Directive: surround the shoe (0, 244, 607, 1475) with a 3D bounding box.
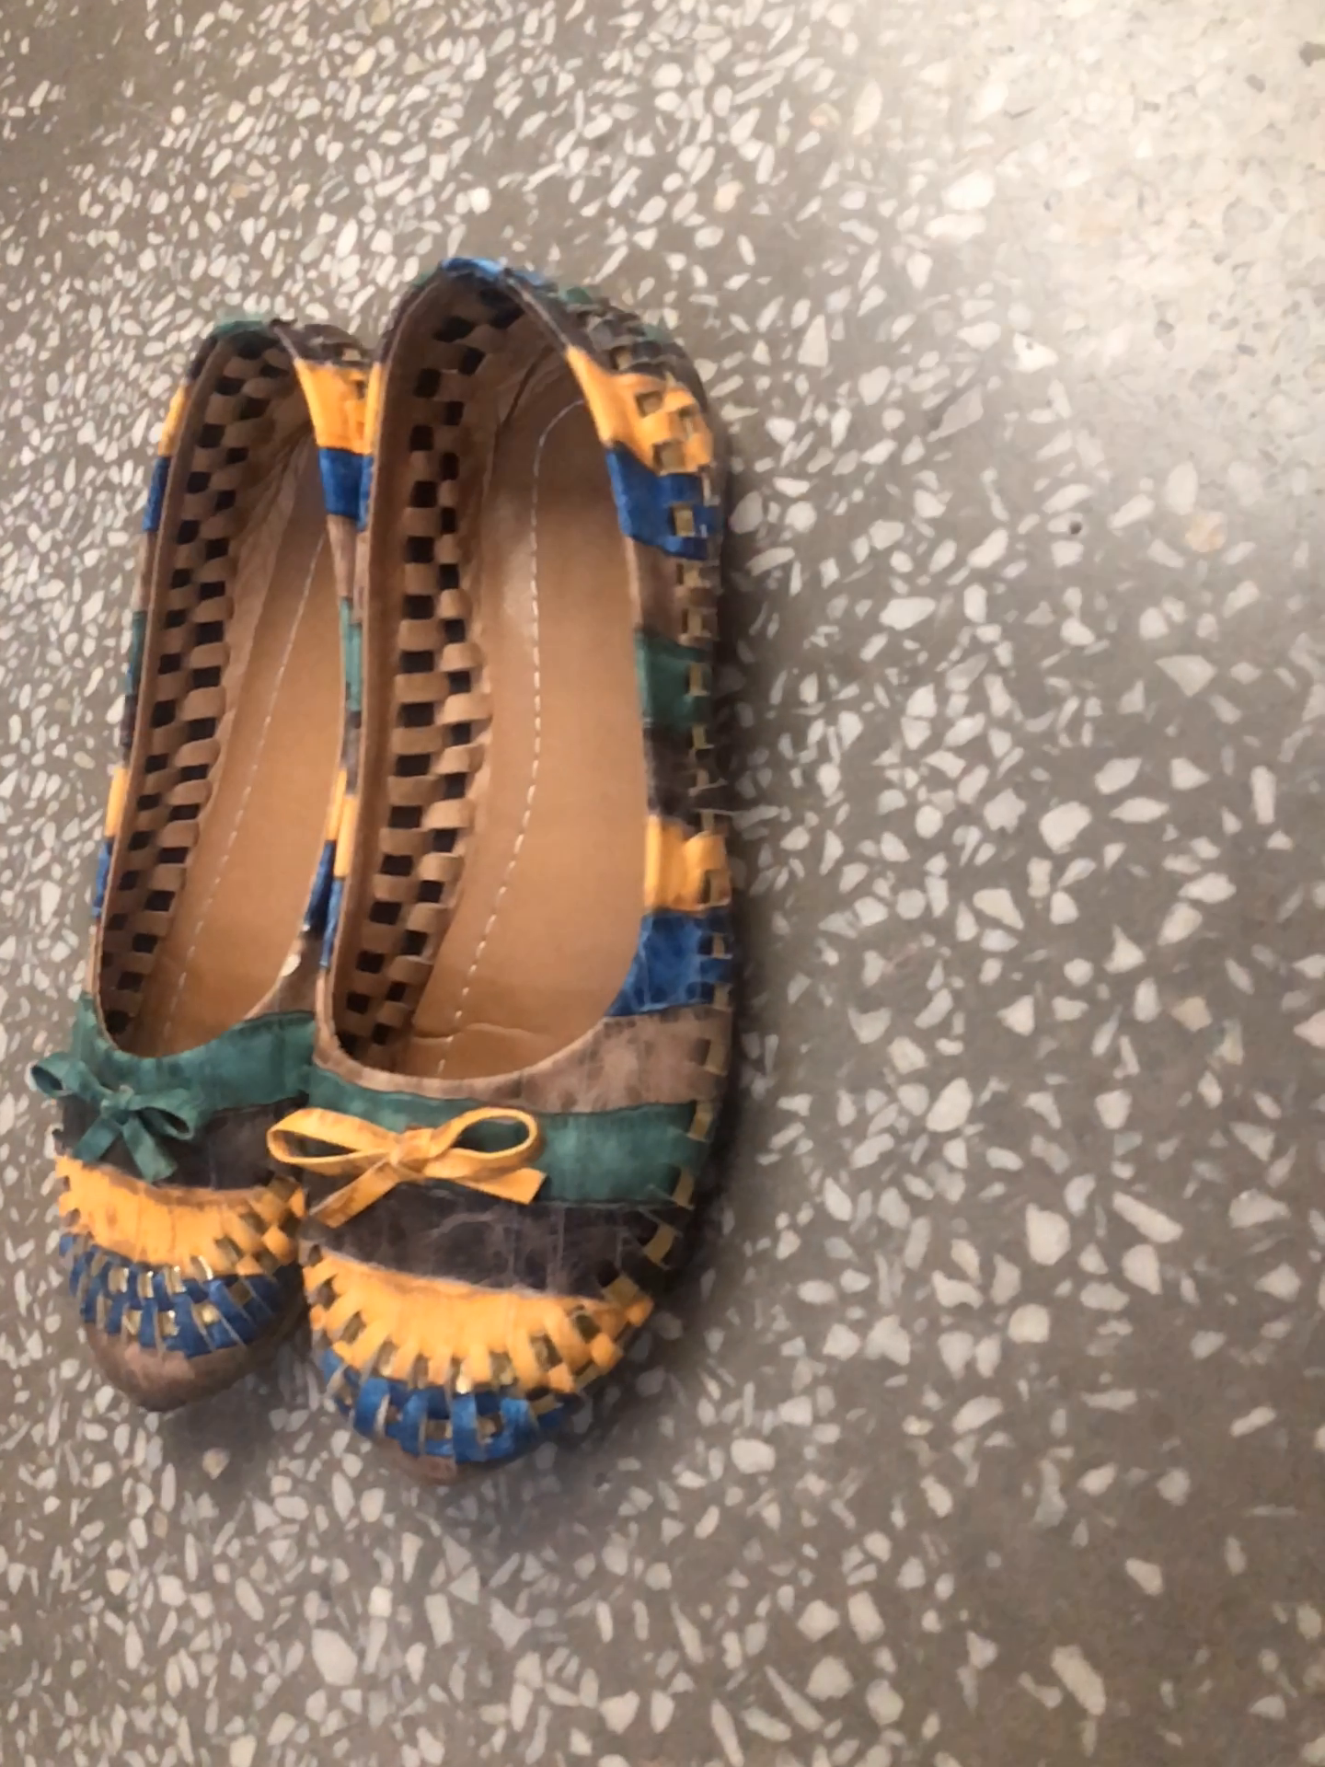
[{"bbox_3d":[-0.091,-0.007,0.330,0.090,0.074,0.237,7,82,33],"label":"shoe"}]

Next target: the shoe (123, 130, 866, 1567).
[{"bbox_3d":[-0.027,-0.008,0.291,0.090,0.074,0.237,1,80,32],"label":"shoe"}]
